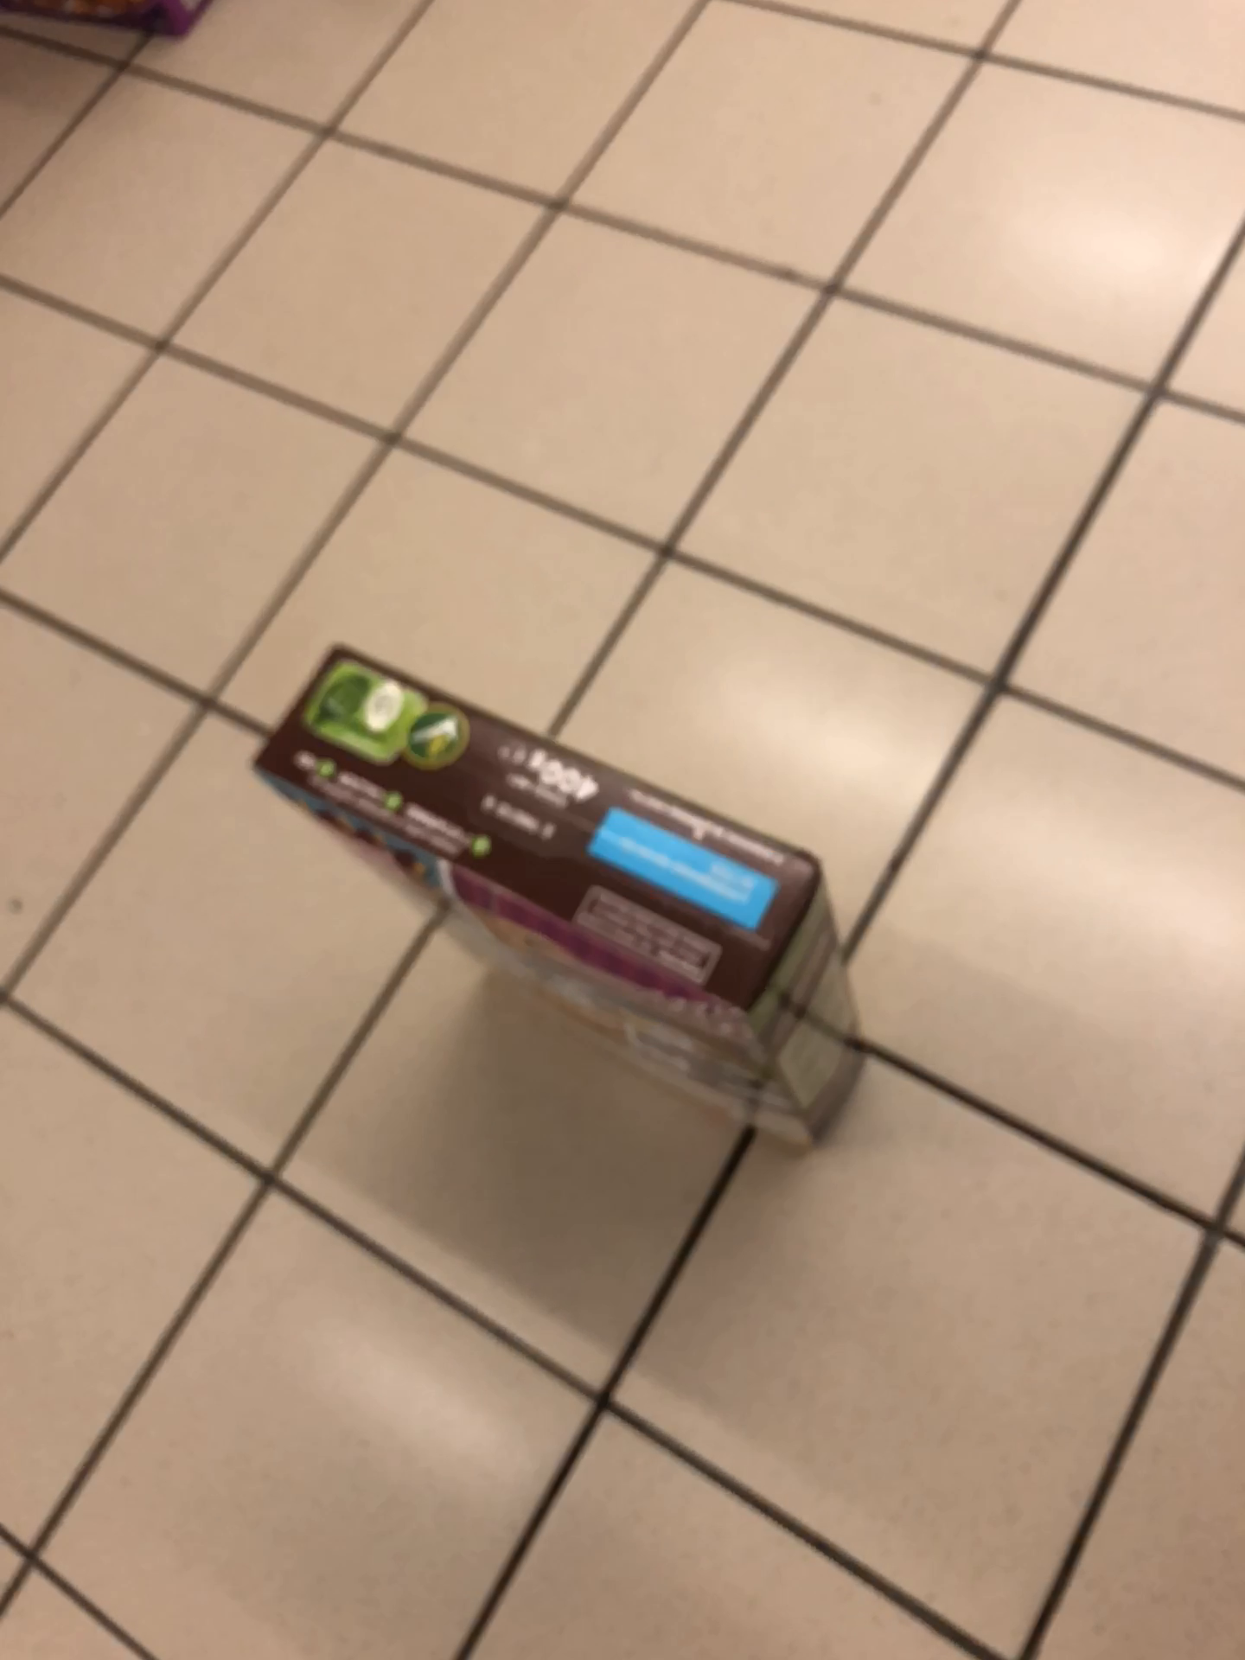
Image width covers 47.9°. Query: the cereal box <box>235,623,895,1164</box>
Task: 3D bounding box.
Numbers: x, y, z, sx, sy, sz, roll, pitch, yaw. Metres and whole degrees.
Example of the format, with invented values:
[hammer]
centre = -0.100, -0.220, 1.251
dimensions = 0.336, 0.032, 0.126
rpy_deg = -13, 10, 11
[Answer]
[cereal box]
centre = 0.000, 0.042, 0.567
dimensions = 0.200, 0.279, 0.060
rpy_deg = 24, 77, 20
